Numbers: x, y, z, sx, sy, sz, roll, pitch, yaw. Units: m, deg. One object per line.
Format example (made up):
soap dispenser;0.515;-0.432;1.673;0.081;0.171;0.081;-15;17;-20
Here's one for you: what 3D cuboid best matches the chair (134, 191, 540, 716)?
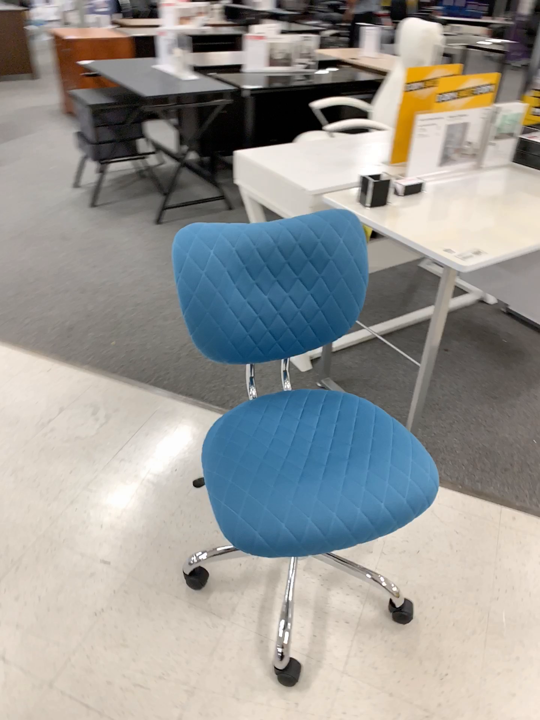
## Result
chair;0.078;0.180;1.230;0.610;0.875;0.633;-7;37;-13
